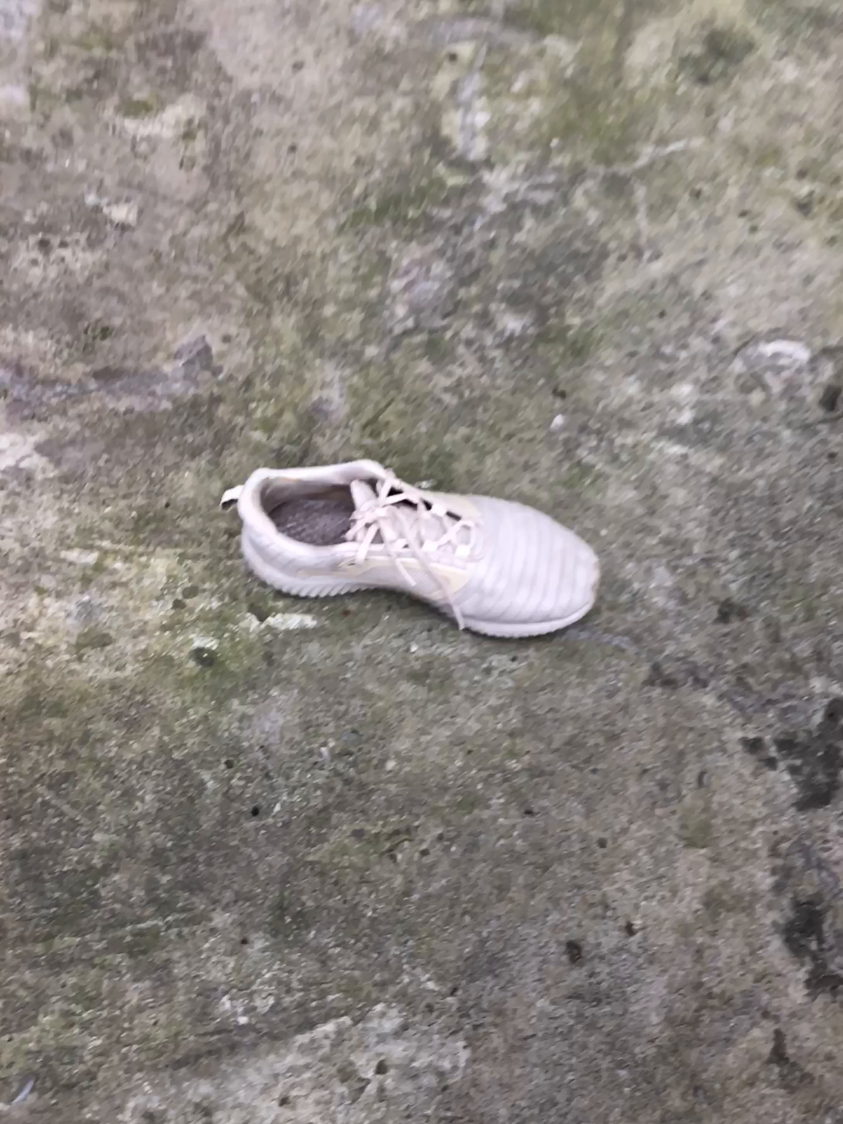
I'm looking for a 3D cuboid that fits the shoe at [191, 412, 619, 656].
[{"bbox_3d":[-0.006,-0.023,0.731,0.300,0.109,0.121,7,65,12],"label":"shoe"}]
